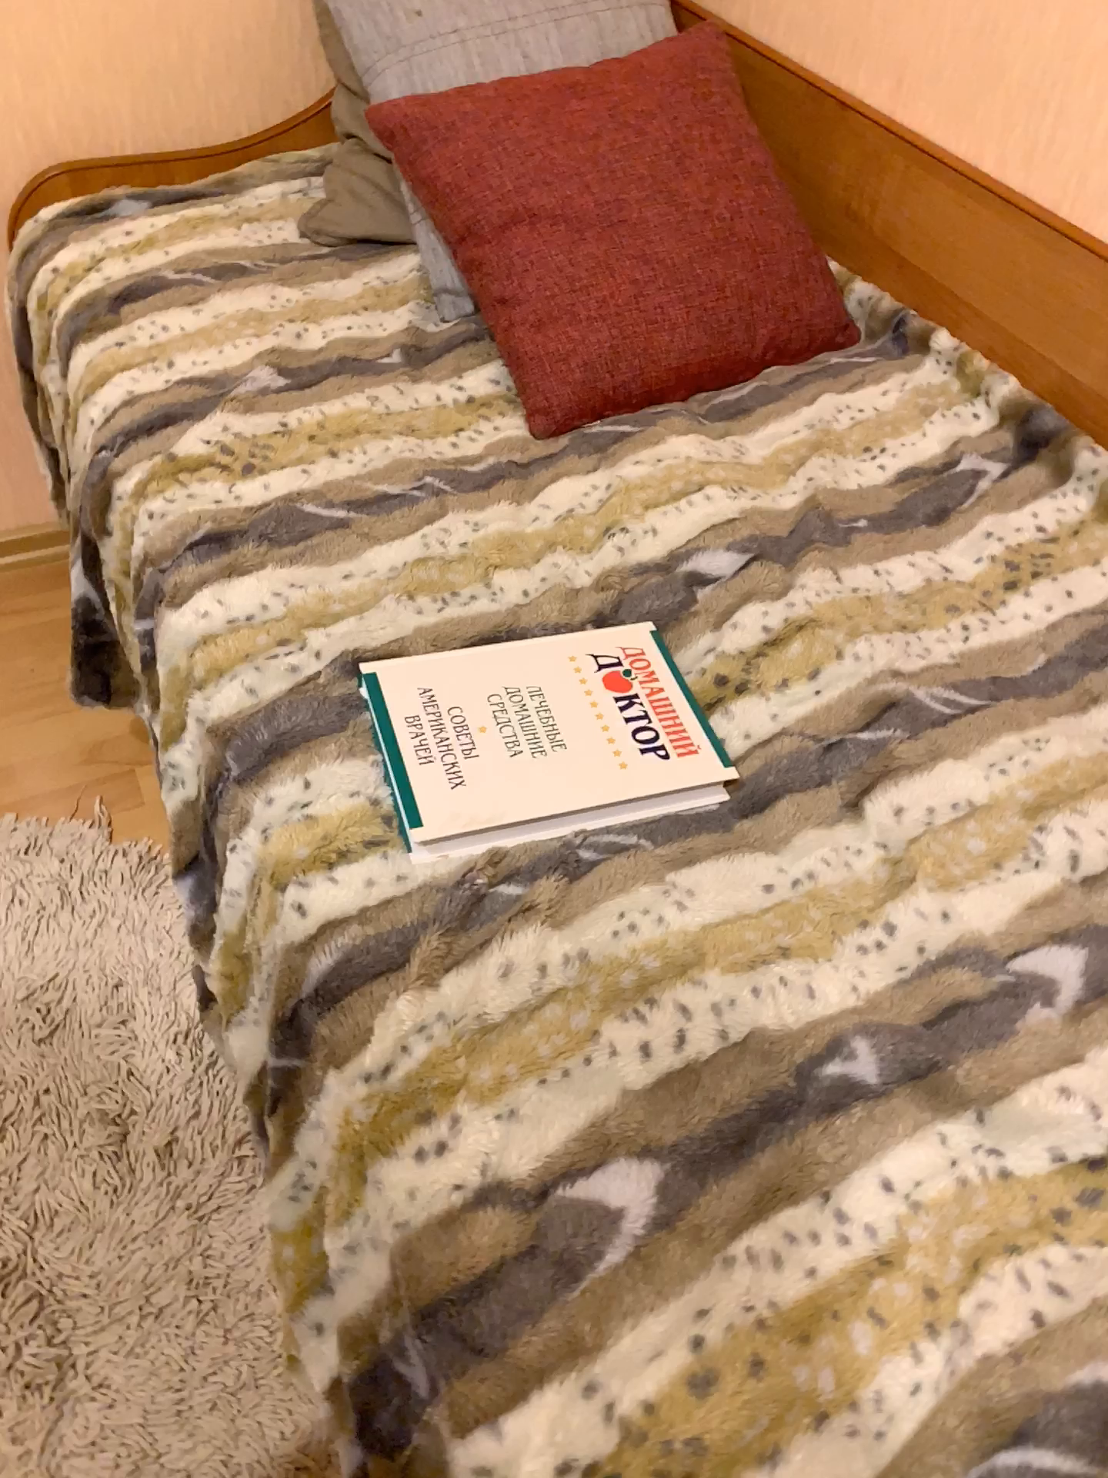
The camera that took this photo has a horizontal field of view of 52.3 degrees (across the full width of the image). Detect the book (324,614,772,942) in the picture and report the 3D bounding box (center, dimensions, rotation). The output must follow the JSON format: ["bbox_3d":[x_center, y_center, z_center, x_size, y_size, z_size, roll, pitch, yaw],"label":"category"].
[{"bbox_3d":[-0.011,0.014,0.734,0.240,0.040,0.191,-11,49,-15],"label":"book"}]
